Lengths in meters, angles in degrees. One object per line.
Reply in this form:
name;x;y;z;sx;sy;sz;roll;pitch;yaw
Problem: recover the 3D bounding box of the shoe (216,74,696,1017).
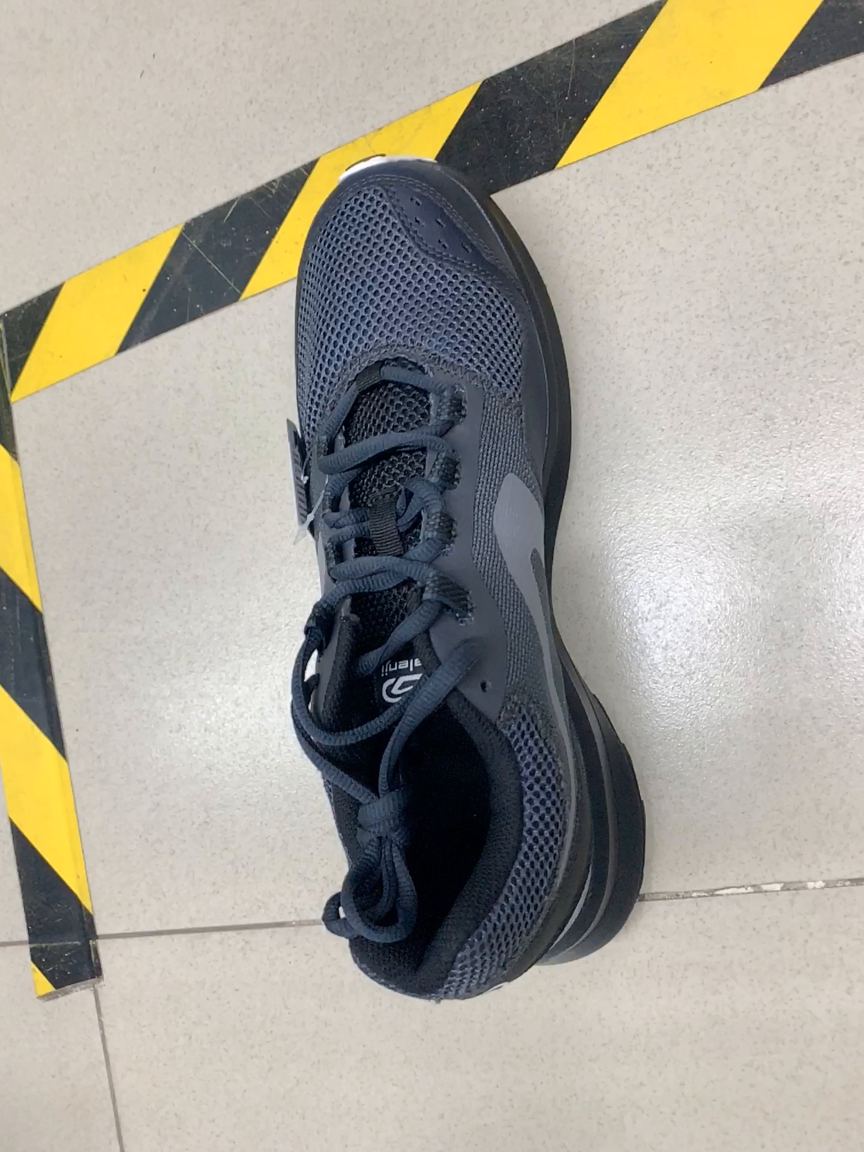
shoe;0.009;-0.005;0.314;0.110;0.070;0.280;-10;86;23
